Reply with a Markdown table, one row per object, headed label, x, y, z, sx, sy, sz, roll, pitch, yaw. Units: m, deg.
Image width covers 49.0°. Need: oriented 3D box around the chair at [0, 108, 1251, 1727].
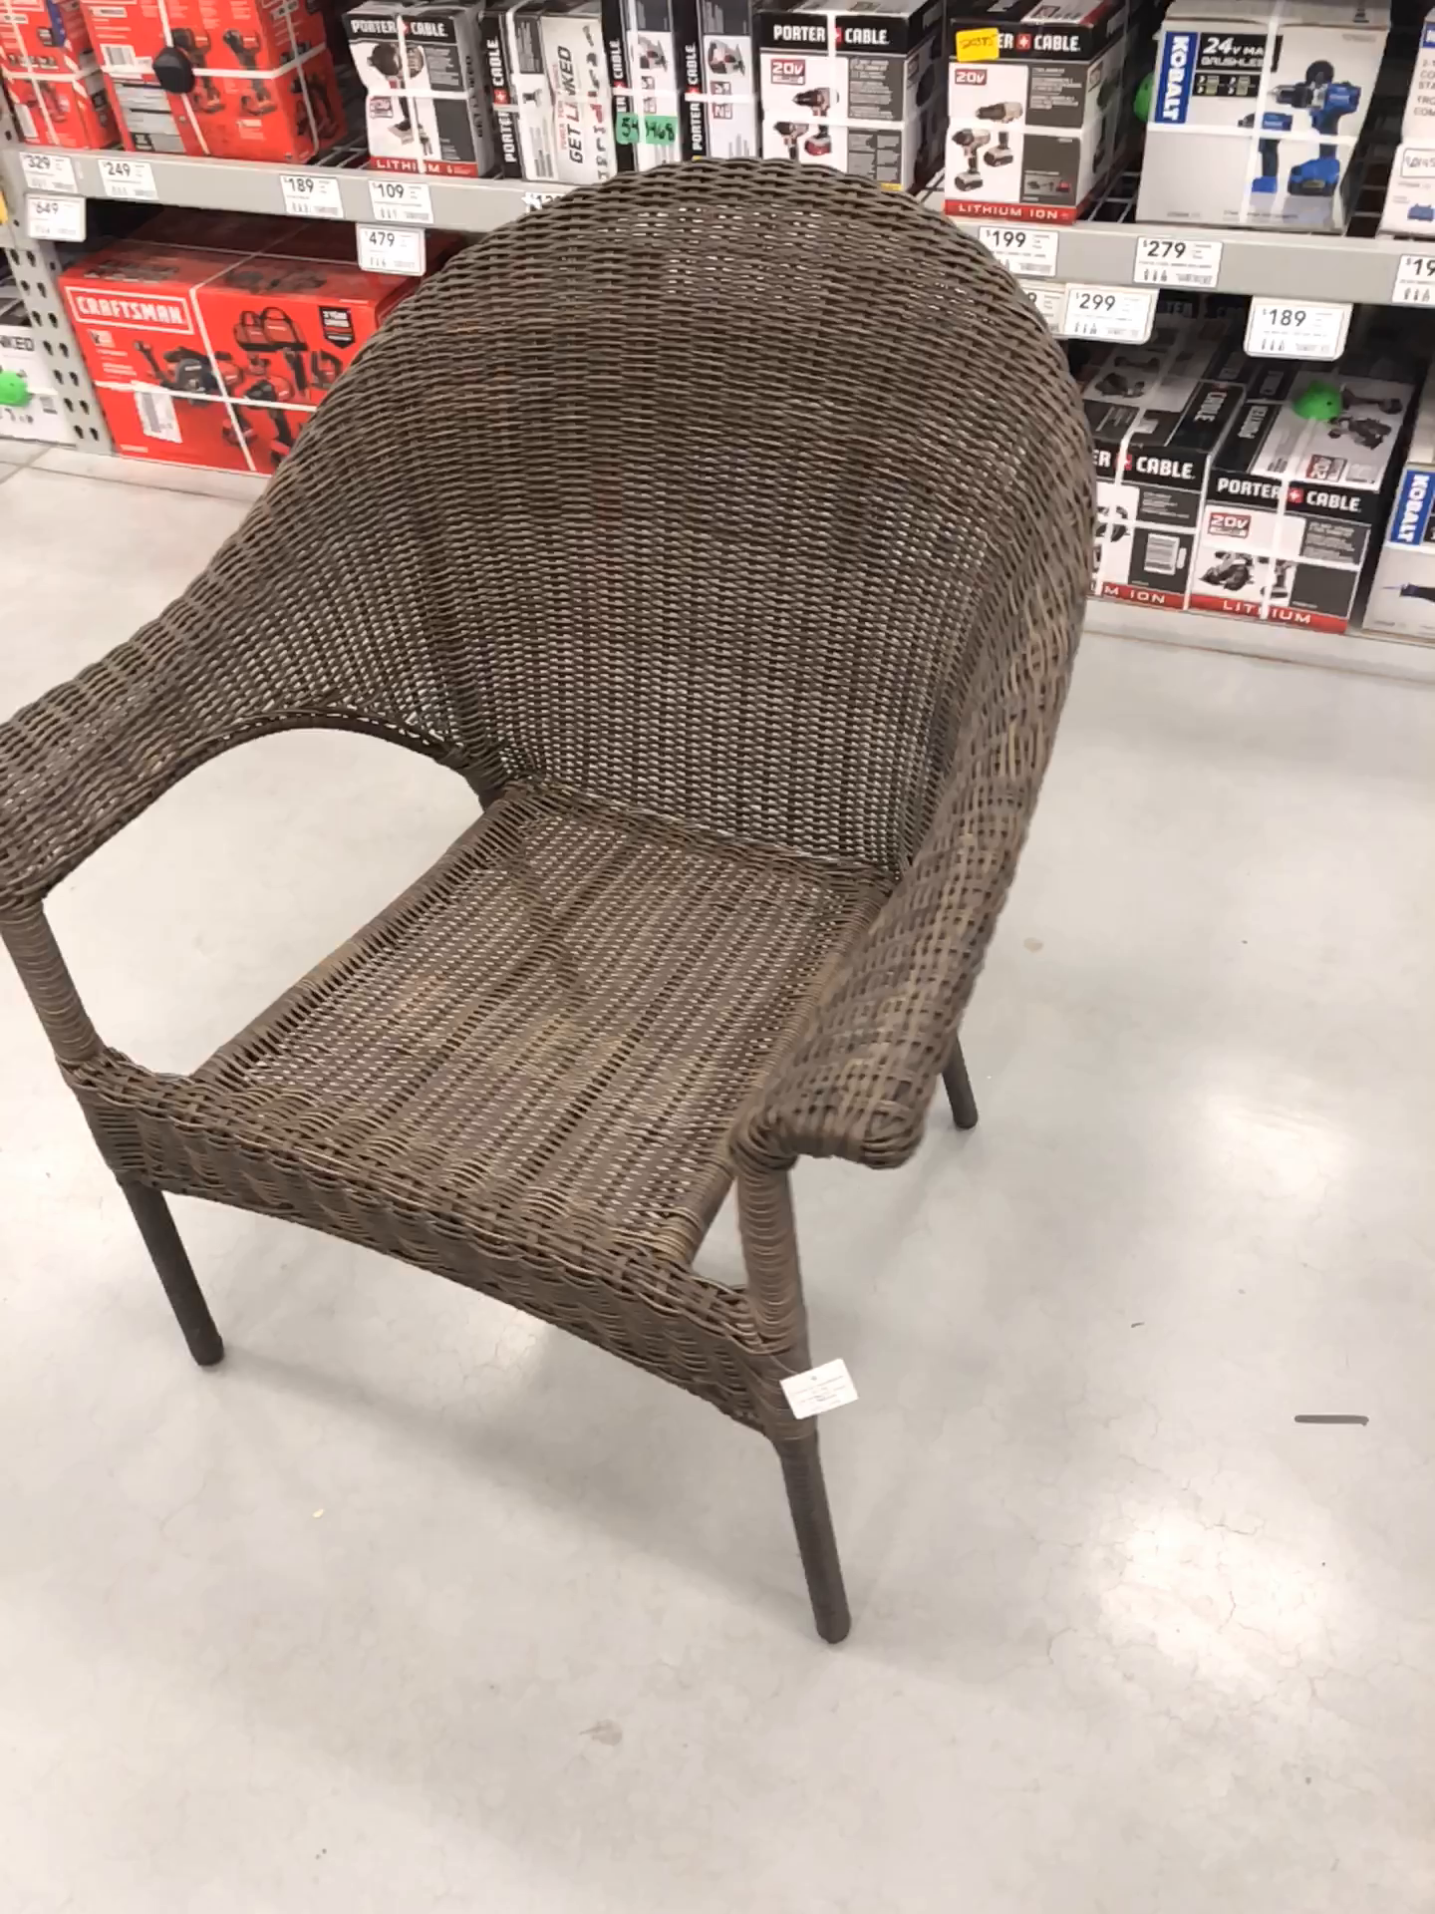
| label | x | y | z | sx | sy | sz | roll | pitch | yaw |
| --- | --- | --- | --- | --- | --- | --- | --- | --- | --- |
| chair | -0.101 | -0.079 | 1.209 | 0.721 | 0.797 | 0.762 | 15 | 47 | 20 |
